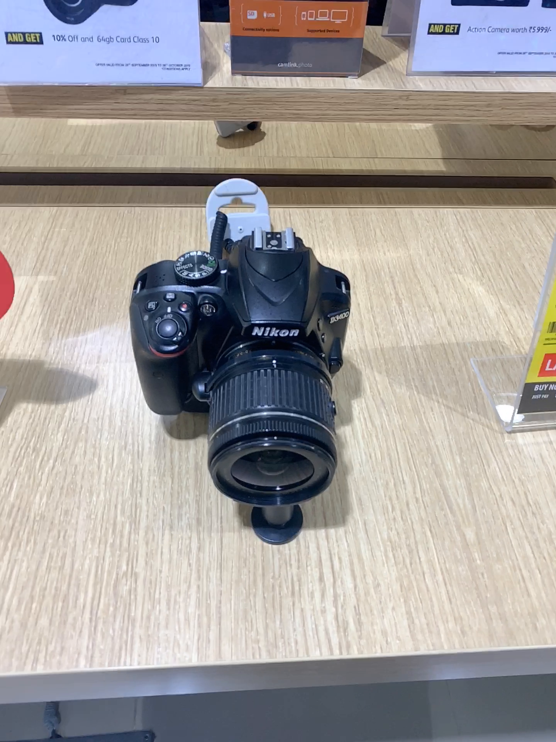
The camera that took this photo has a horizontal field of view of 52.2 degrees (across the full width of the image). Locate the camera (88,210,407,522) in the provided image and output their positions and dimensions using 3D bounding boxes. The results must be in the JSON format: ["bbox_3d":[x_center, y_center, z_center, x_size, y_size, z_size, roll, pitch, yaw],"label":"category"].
[{"bbox_3d":[-0.016,-0.007,0.291,0.120,0.090,0.130,-2,47,-4],"label":"camera"}]
